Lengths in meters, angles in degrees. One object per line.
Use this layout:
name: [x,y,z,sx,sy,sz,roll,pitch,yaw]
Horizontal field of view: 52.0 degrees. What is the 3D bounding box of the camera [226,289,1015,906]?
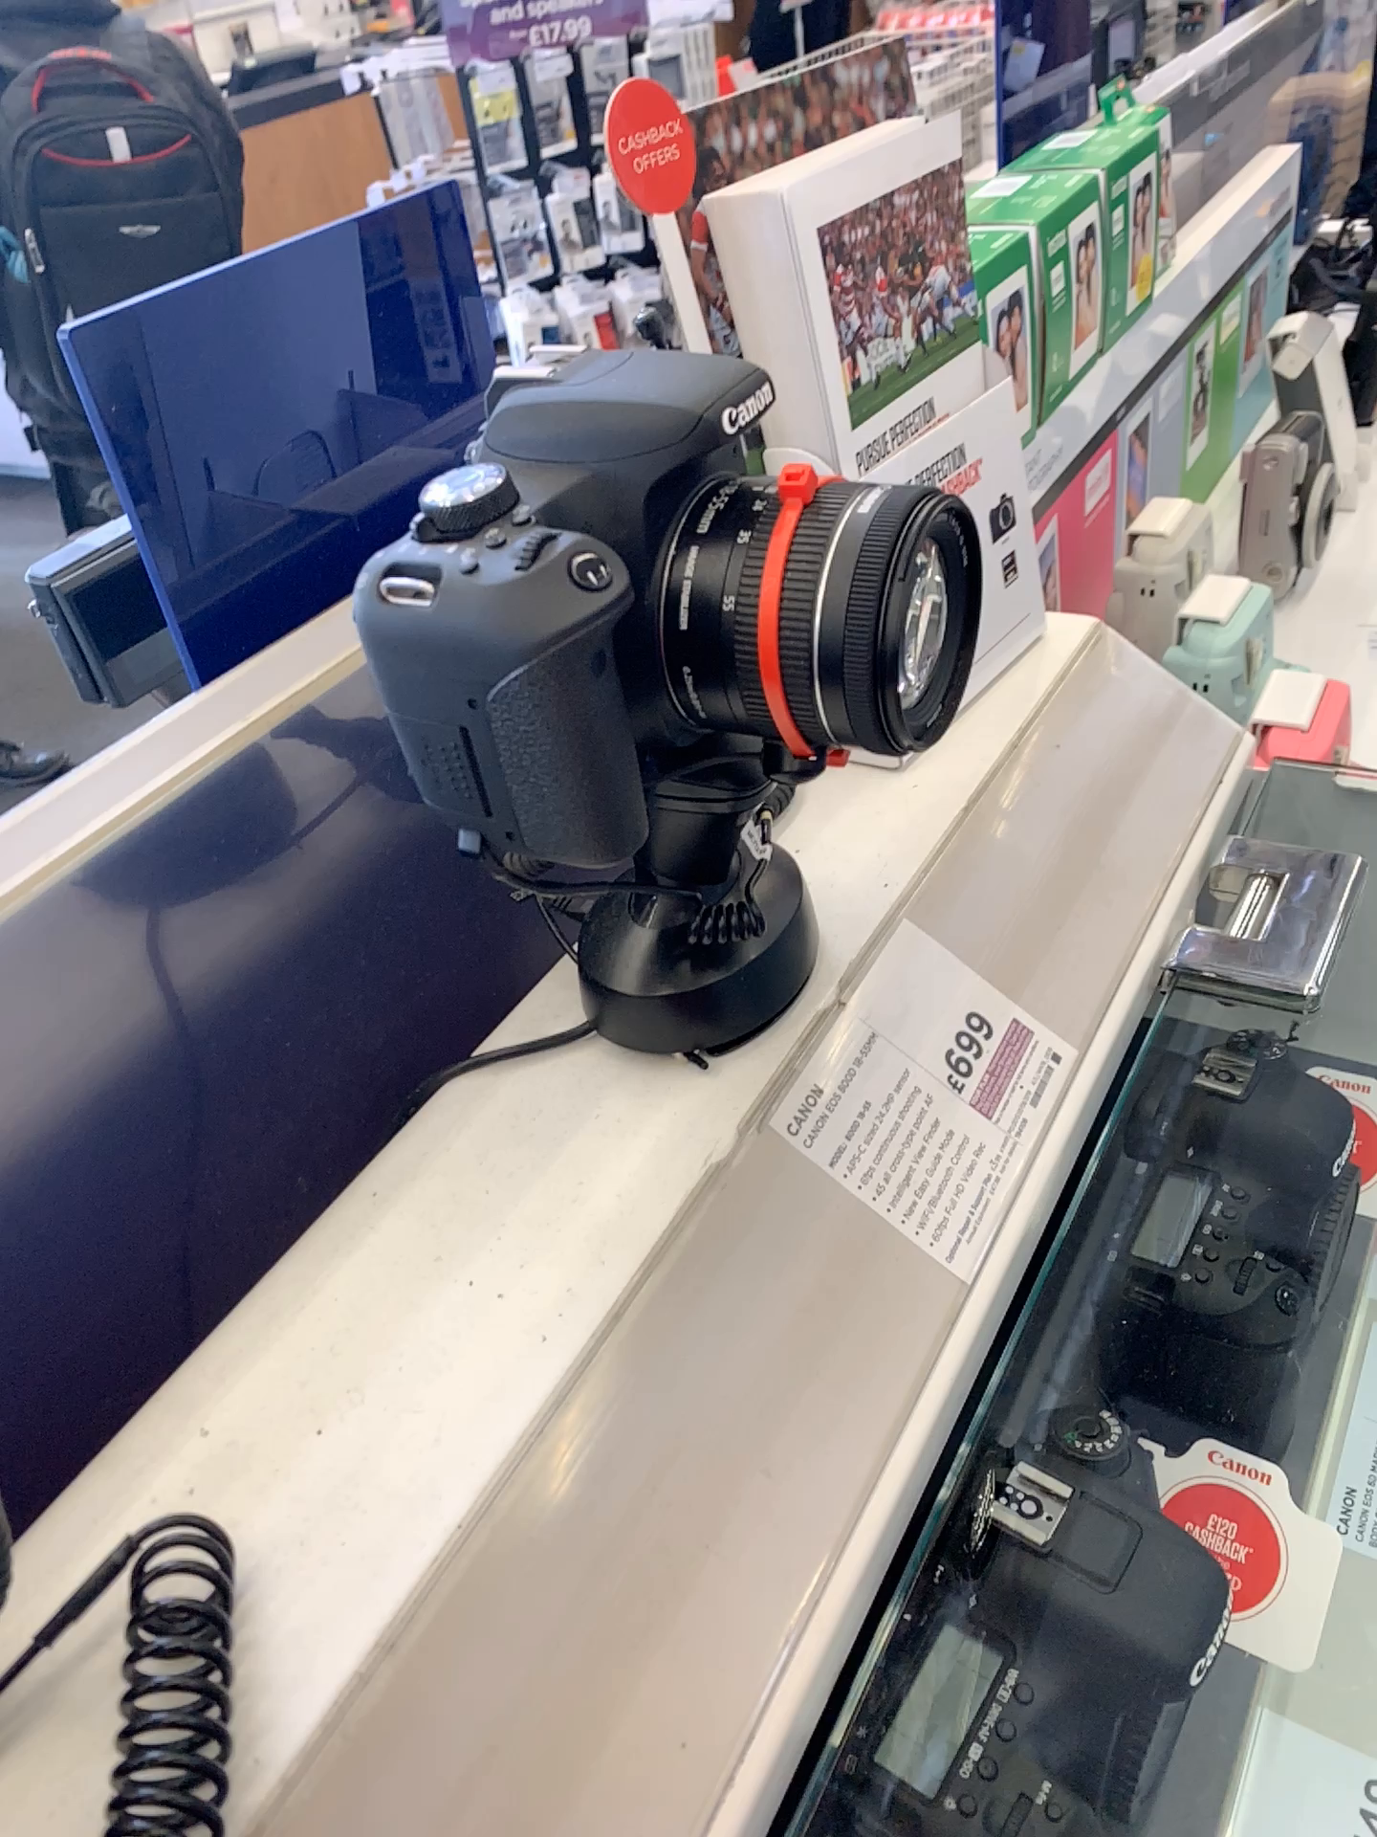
camera: [-0.004,-0.090,0.357,0.140,0.089,0.141,9,40,24]
